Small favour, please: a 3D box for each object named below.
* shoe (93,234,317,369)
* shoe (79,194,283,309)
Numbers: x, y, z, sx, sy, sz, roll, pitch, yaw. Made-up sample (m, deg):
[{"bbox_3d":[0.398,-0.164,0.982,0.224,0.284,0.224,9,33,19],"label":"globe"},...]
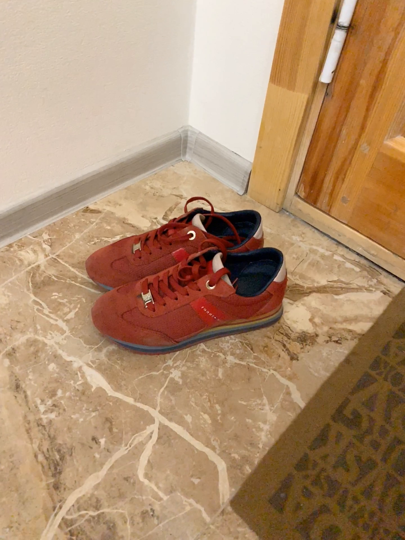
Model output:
[{"bbox_3d":[-0.001,0.034,0.502,0.240,0.090,0.090,-8,48,-15],"label":"shoe"},{"bbox_3d":[-0.031,-0.028,0.547,0.240,0.090,0.090,-7,48,-13],"label":"shoe"}]
